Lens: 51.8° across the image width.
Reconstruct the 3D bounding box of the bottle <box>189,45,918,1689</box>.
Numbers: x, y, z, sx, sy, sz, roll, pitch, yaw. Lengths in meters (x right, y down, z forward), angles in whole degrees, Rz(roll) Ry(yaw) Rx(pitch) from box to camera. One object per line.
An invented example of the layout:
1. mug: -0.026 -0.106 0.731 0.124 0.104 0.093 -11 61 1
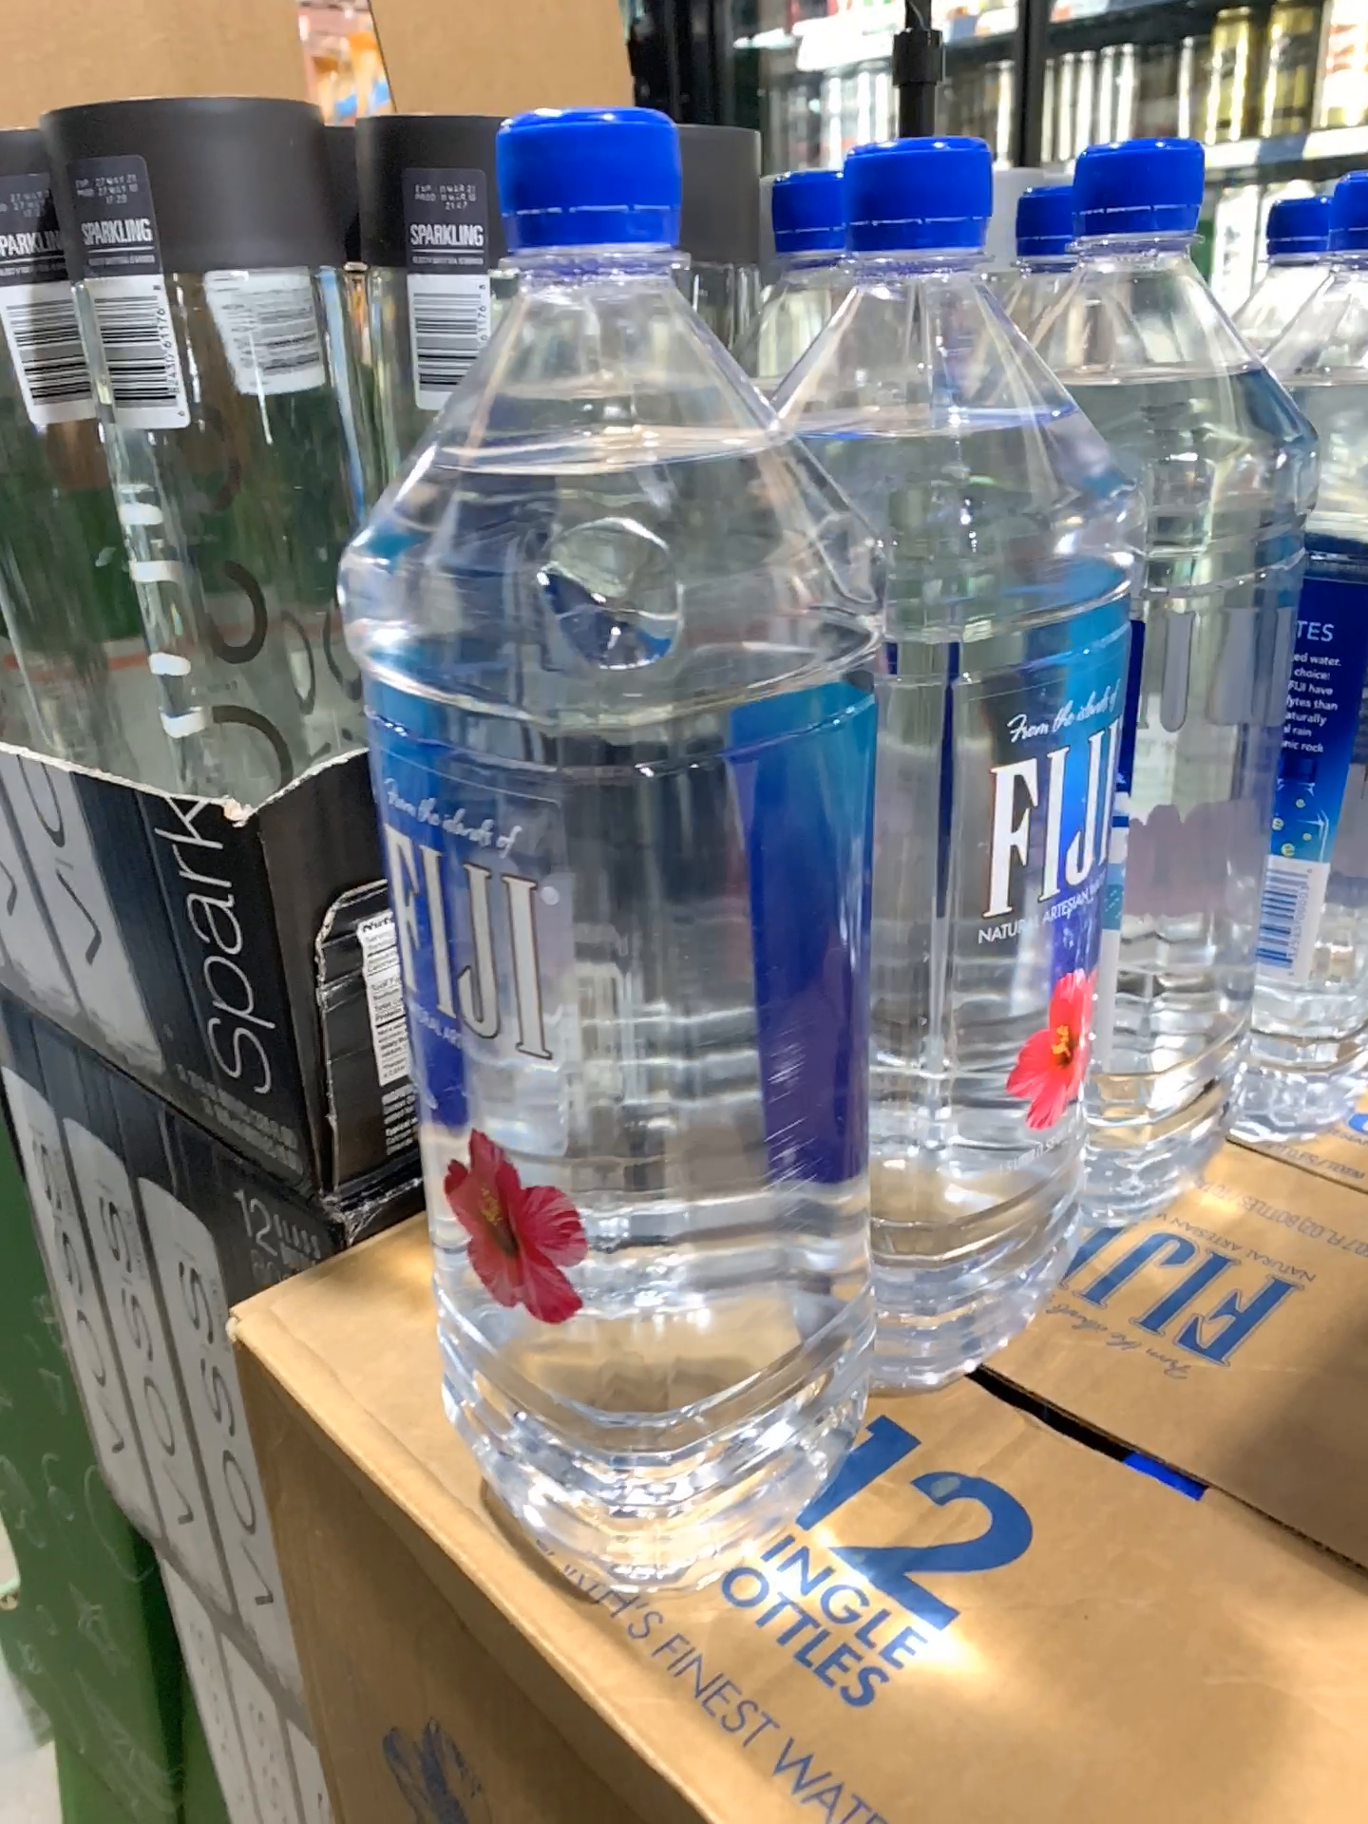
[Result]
1. bottle: -0.016 0.000 0.279 0.080 0.279 0.090 -20 28 -34
